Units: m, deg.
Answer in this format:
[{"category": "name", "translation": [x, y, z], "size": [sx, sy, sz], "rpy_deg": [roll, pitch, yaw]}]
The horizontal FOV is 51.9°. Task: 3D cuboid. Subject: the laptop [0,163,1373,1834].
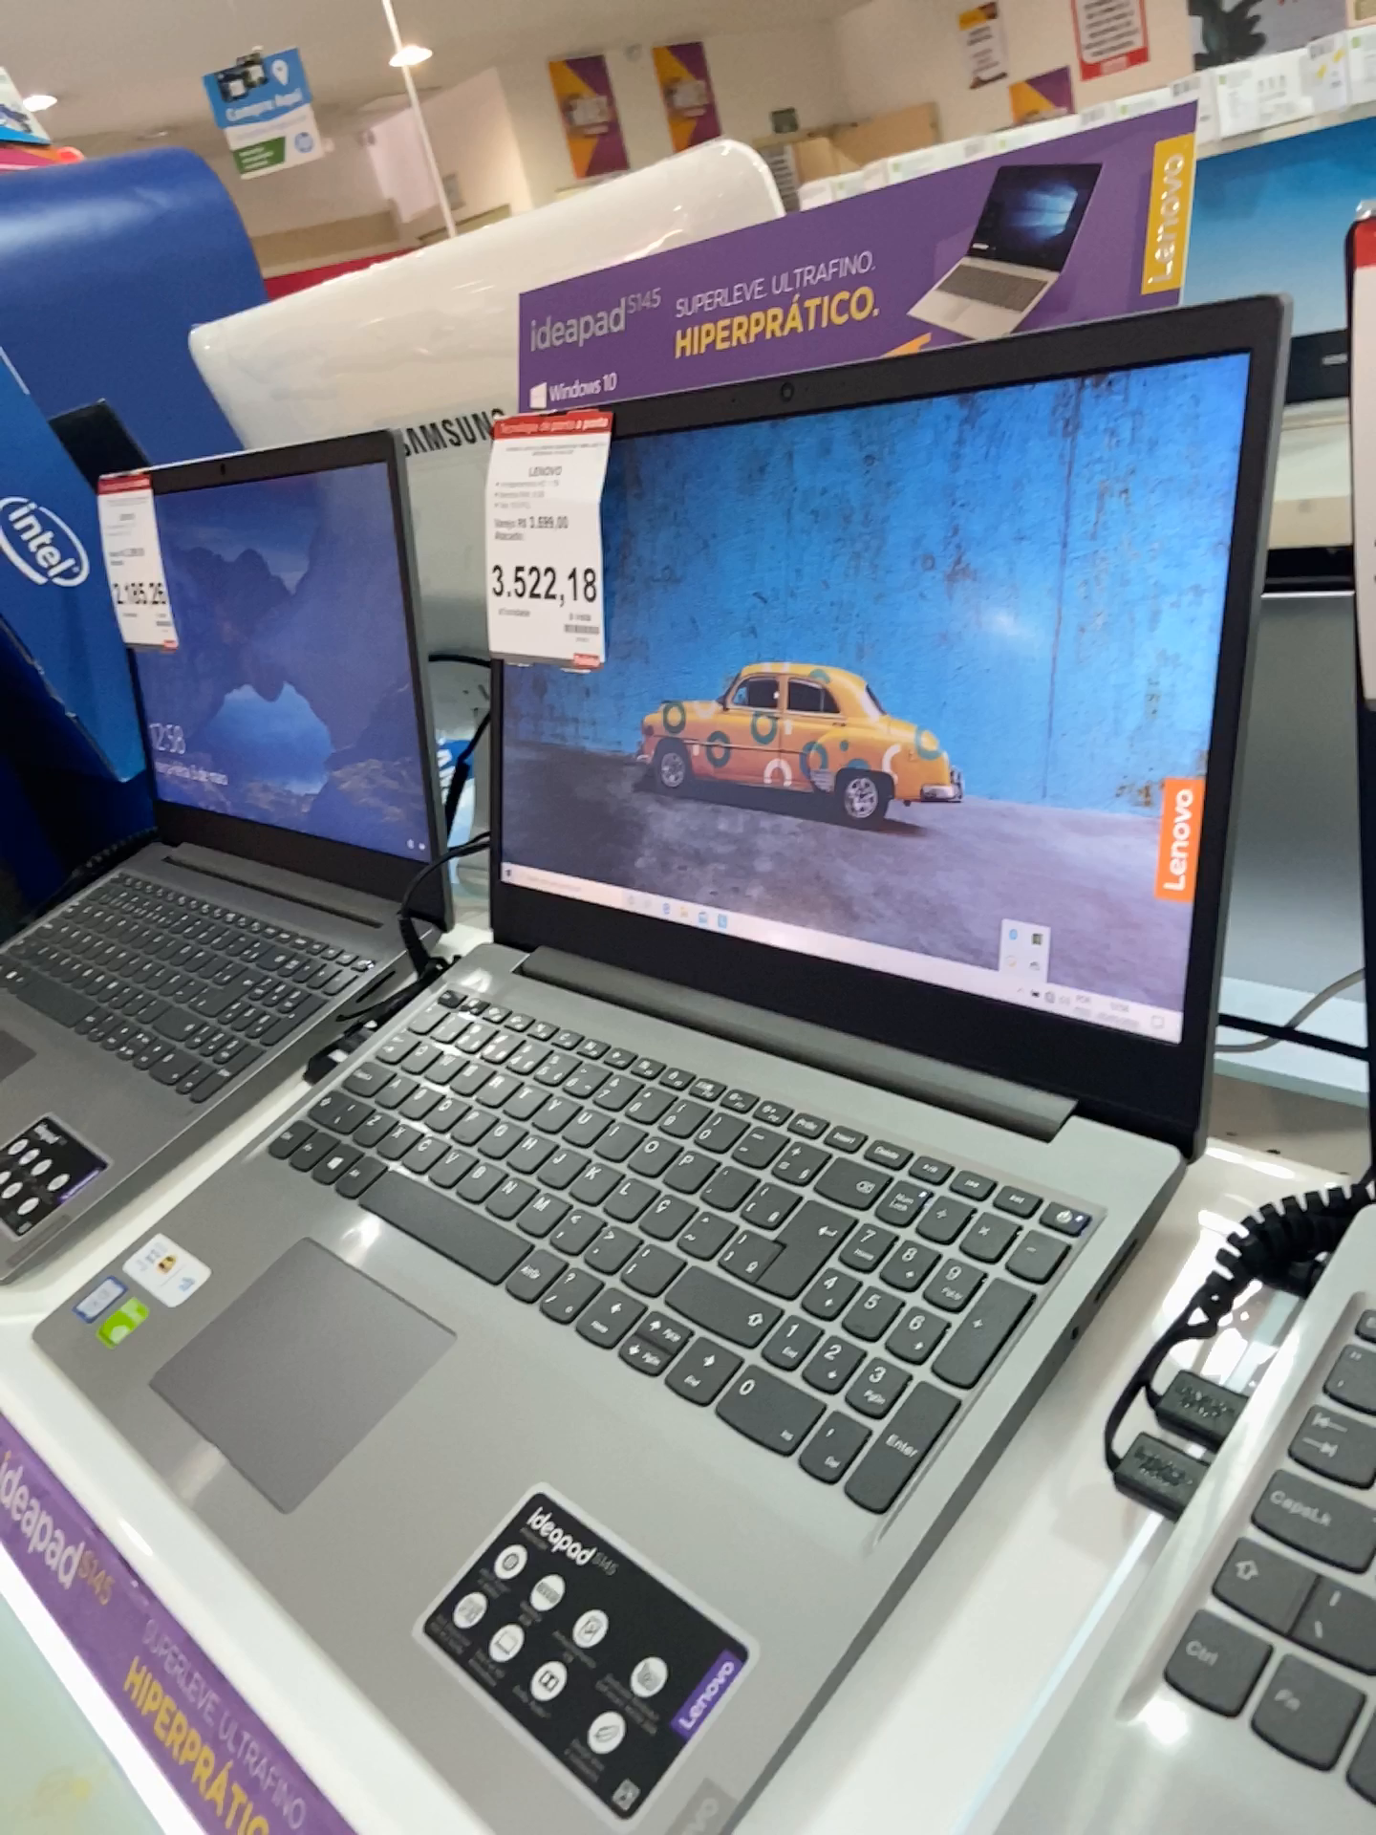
[{"category": "laptop", "translation": [-0.040, -0.022, 0.453], "size": [0.347, 0.209, 0.365], "rpy_deg": [11, 42, 47]}]
